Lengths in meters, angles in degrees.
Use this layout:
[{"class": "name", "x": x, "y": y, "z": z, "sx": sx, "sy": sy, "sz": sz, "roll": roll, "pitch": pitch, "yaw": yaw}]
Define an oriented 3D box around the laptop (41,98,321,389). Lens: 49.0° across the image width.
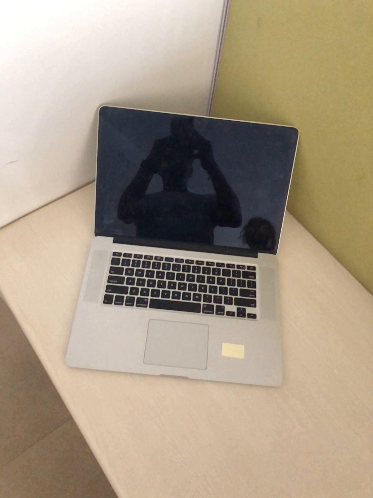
[{"class": "laptop", "x": 0.002, "y": -0.015, "z": 0.666, "sx": 0.345, "sy": 0.163, "sz": 0.404, "roll": 6, "pitch": 62, "yaw": -2}]
